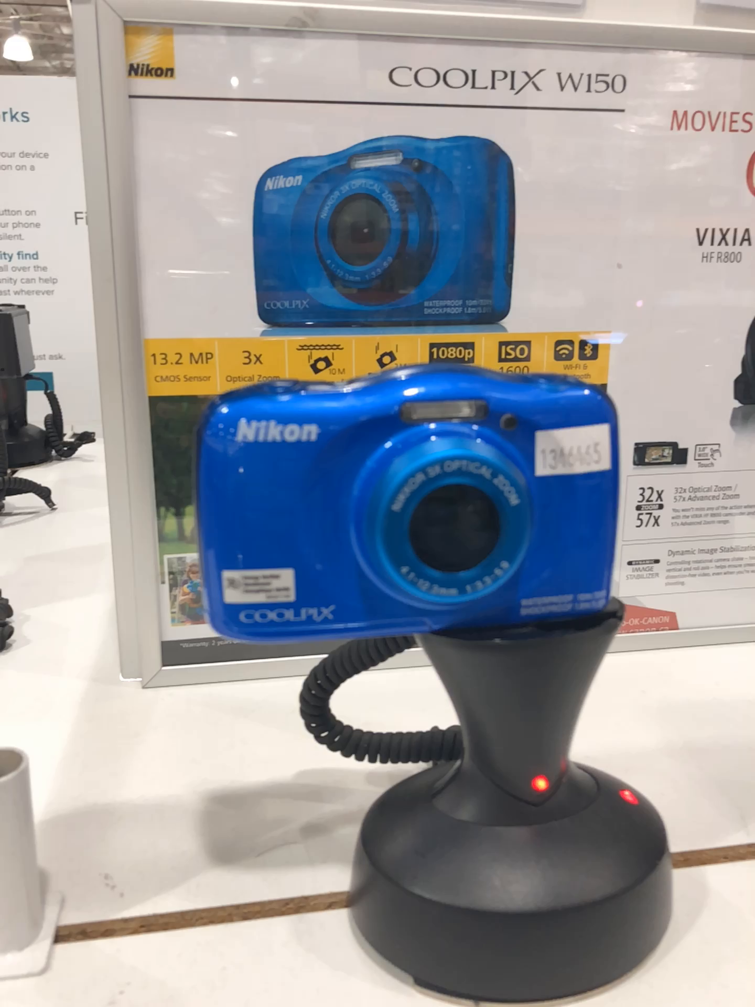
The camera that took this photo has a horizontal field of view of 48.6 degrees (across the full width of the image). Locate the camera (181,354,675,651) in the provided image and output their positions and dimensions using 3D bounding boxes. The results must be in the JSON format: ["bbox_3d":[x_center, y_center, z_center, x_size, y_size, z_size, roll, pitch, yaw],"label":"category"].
[{"bbox_3d":[0.010,-0.004,0.205,0.110,0.060,0.040,-3,14,-12],"label":"camera"}]
